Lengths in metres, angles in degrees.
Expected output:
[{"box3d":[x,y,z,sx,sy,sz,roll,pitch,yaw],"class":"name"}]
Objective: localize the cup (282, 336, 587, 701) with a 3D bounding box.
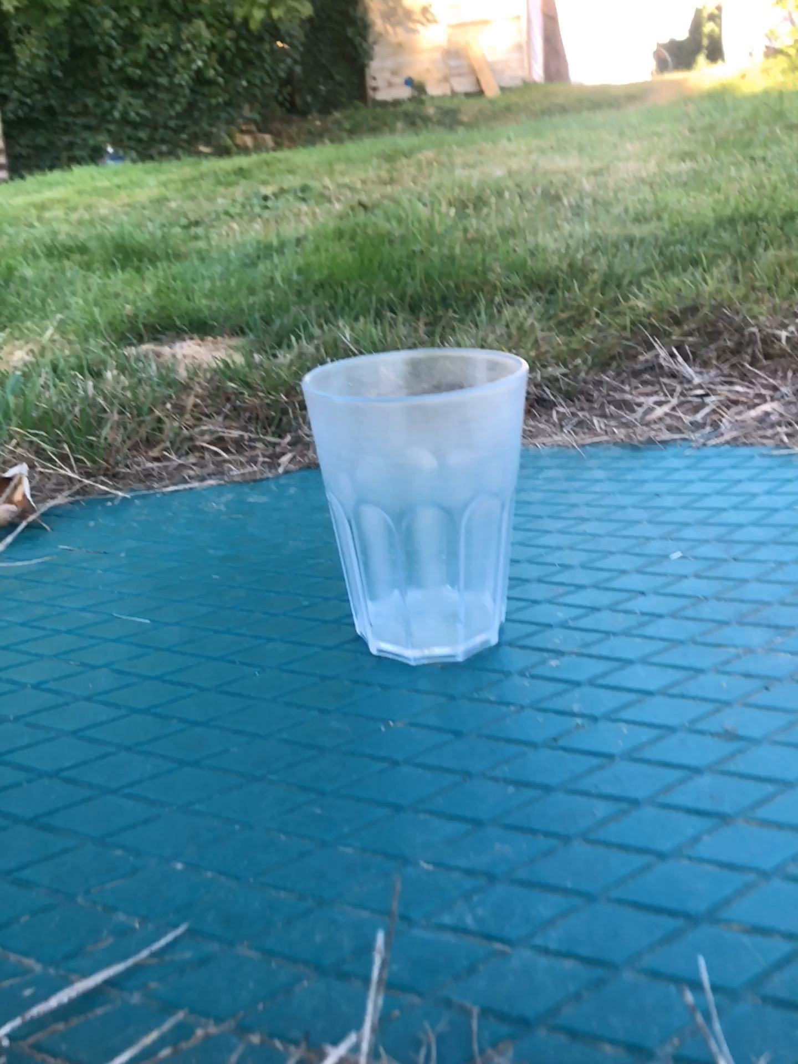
[{"box3d":[0.014,-0.013,0.360,0.088,0.113,0.091,-4,20,2],"class":"cup"}]
